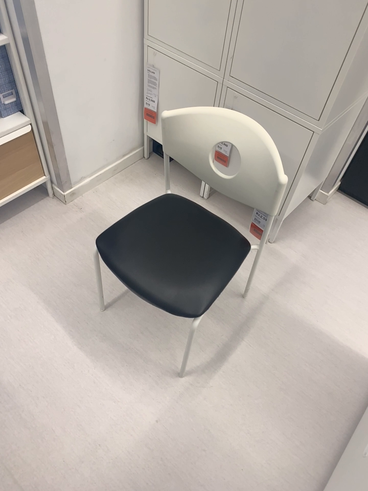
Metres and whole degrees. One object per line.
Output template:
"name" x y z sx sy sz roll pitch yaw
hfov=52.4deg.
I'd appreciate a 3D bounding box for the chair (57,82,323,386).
"chair" 0.002 -0.002 1.266 0.481 0.768 0.511 34 56 19
